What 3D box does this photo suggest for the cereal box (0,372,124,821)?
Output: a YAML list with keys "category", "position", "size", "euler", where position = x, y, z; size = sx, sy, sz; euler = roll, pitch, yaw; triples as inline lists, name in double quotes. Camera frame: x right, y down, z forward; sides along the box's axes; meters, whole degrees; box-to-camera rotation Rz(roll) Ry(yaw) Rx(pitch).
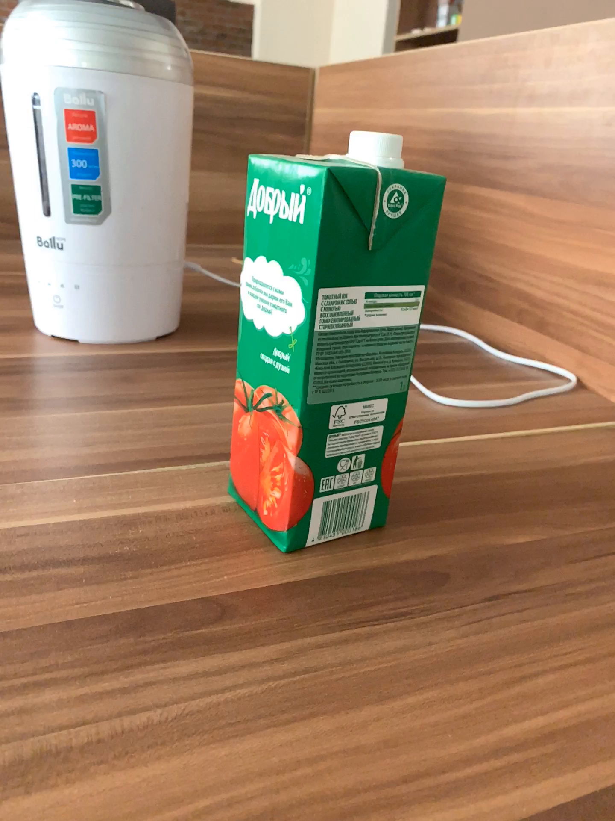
- category: "cereal box"
  position: [-0.560, 0.519, 0.381]
  size: [0.591, 0.836, 0.612]
  euler: [17, 25, 25]
